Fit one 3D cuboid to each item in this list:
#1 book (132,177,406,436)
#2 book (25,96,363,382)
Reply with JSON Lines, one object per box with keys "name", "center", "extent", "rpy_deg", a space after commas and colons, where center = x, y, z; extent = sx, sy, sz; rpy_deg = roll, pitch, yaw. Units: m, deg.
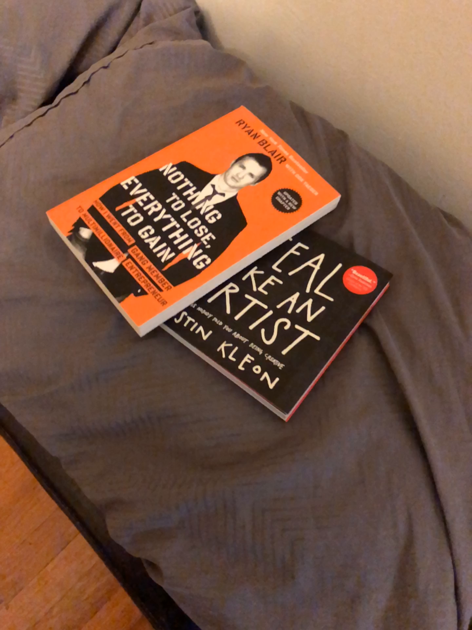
{"name": "book", "center": [0.030, -0.017, 0.427], "extent": [0.150, 0.020, 0.170], "rpy_deg": [35, 67, 12]}
{"name": "book", "center": [-0.033, -0.079, 0.451], "extent": [0.230, 0.020, 0.170], "rpy_deg": [-37, 73, -17]}
